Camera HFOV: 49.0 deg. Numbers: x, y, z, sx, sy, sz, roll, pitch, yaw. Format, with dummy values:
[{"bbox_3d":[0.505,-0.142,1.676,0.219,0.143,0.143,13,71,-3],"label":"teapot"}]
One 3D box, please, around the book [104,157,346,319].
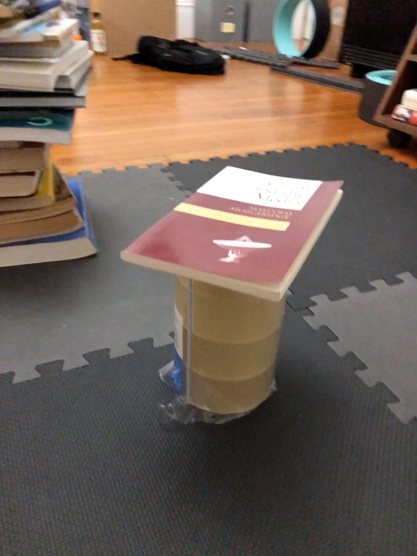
[{"bbox_3d":[0.029,-0.052,0.400,0.140,0.020,0.211,15,37,19],"label":"book"}]
